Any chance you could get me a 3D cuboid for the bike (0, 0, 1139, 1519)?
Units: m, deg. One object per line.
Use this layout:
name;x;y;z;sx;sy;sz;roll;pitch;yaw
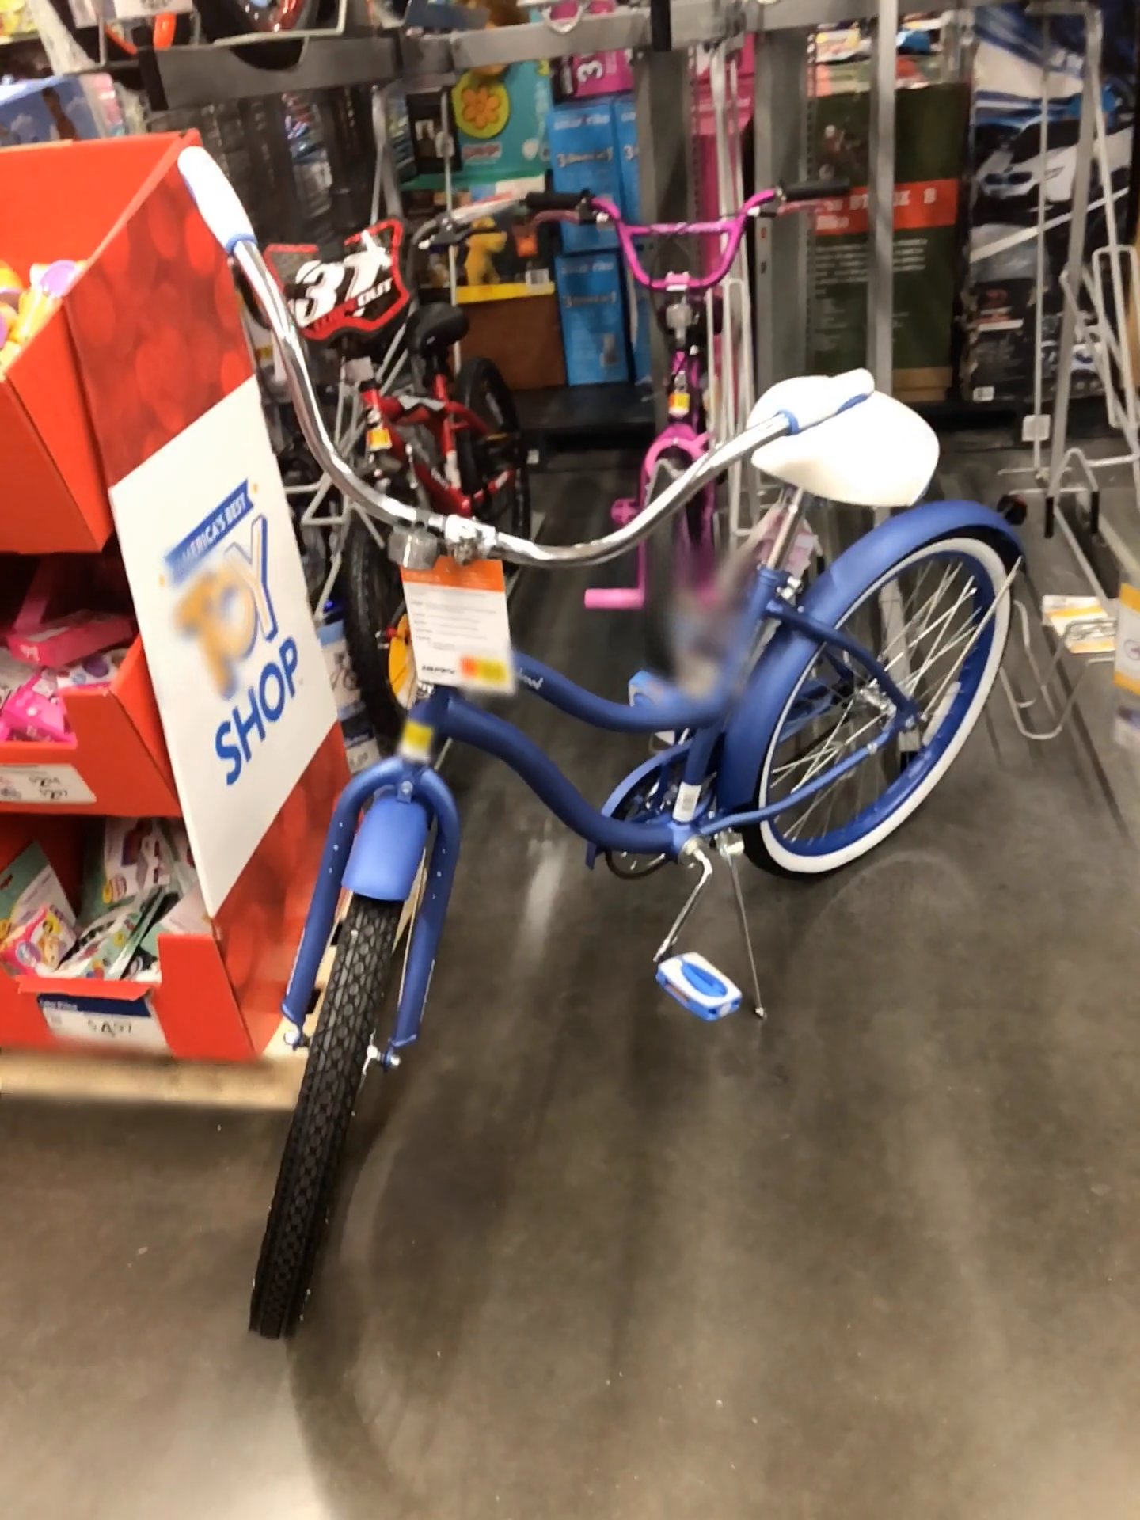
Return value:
bike;0.167;-0.080;1.389;0.859;1.113;1.357;22;44;39
